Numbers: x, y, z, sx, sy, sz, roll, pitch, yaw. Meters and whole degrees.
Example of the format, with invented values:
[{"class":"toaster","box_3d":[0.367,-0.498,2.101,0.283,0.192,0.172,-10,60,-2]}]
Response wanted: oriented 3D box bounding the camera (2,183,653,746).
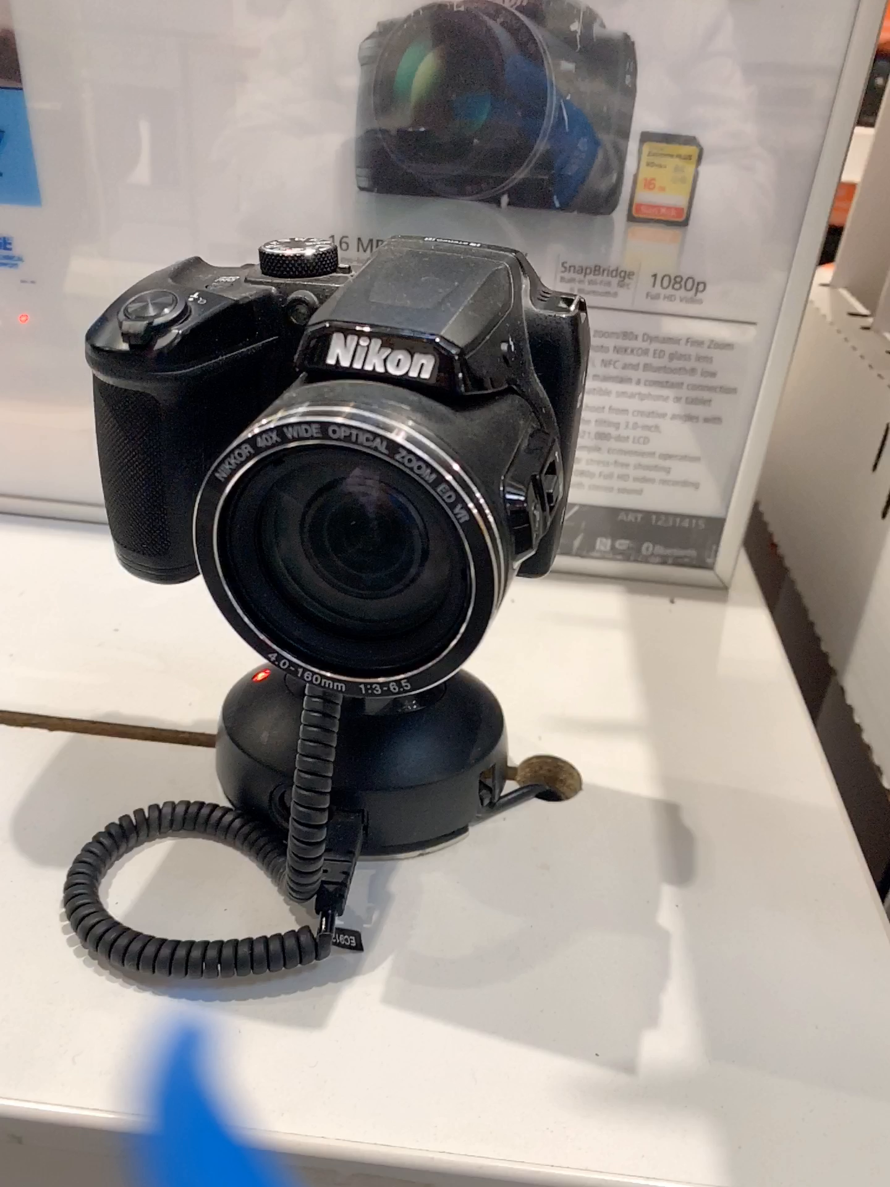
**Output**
[{"class":"camera","box_3d":[-0.020,-0.030,0.200,0.110,0.089,0.061,9,31,6]}]
